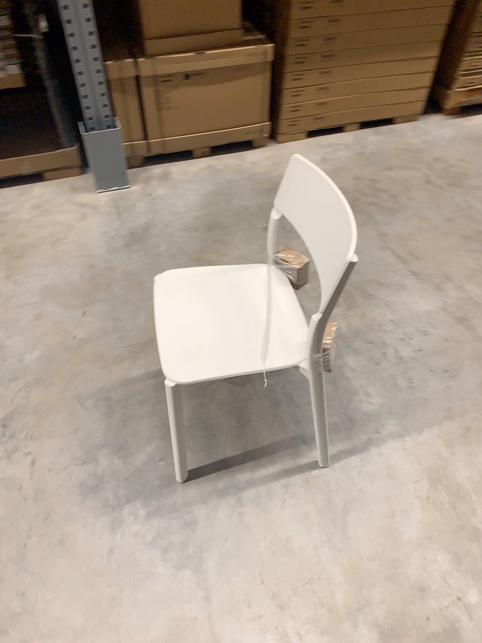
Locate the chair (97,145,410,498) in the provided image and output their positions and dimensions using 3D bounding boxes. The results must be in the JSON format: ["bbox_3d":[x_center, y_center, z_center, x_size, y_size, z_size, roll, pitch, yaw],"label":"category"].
[{"bbox_3d":[-0.019,0.002,1.218,0.530,0.618,0.522,-9,47,-9],"label":"chair"}]
